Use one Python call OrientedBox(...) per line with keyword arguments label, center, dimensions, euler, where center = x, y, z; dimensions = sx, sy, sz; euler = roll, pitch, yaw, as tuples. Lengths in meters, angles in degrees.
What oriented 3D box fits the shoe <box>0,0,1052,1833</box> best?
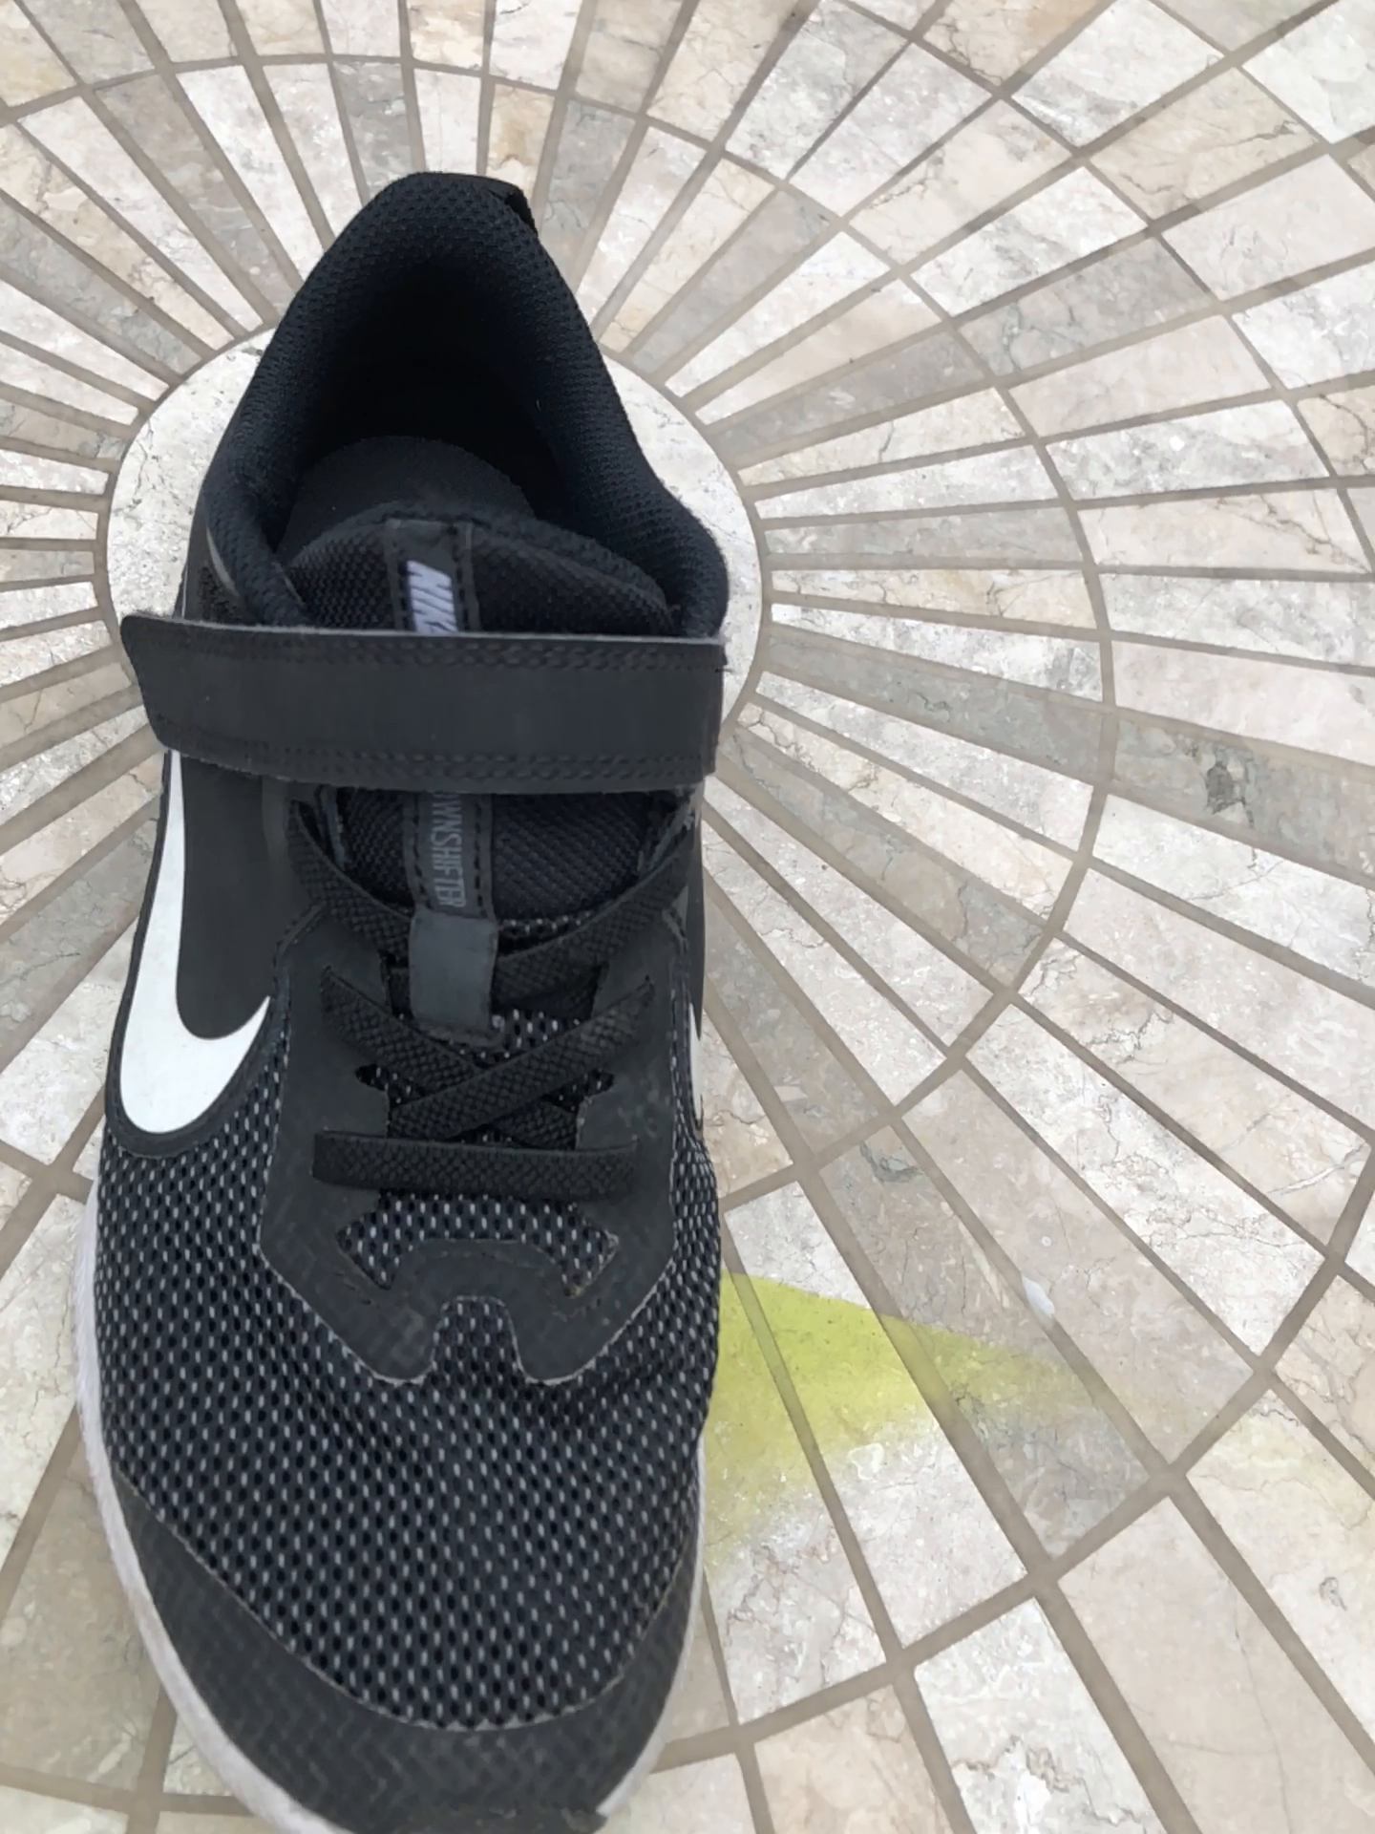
OrientedBox(label="shoe", center=(-0.036, 0.004, 0.217), dimensions=(0.100, 0.100, 0.251), euler=(1, 67, -13))
